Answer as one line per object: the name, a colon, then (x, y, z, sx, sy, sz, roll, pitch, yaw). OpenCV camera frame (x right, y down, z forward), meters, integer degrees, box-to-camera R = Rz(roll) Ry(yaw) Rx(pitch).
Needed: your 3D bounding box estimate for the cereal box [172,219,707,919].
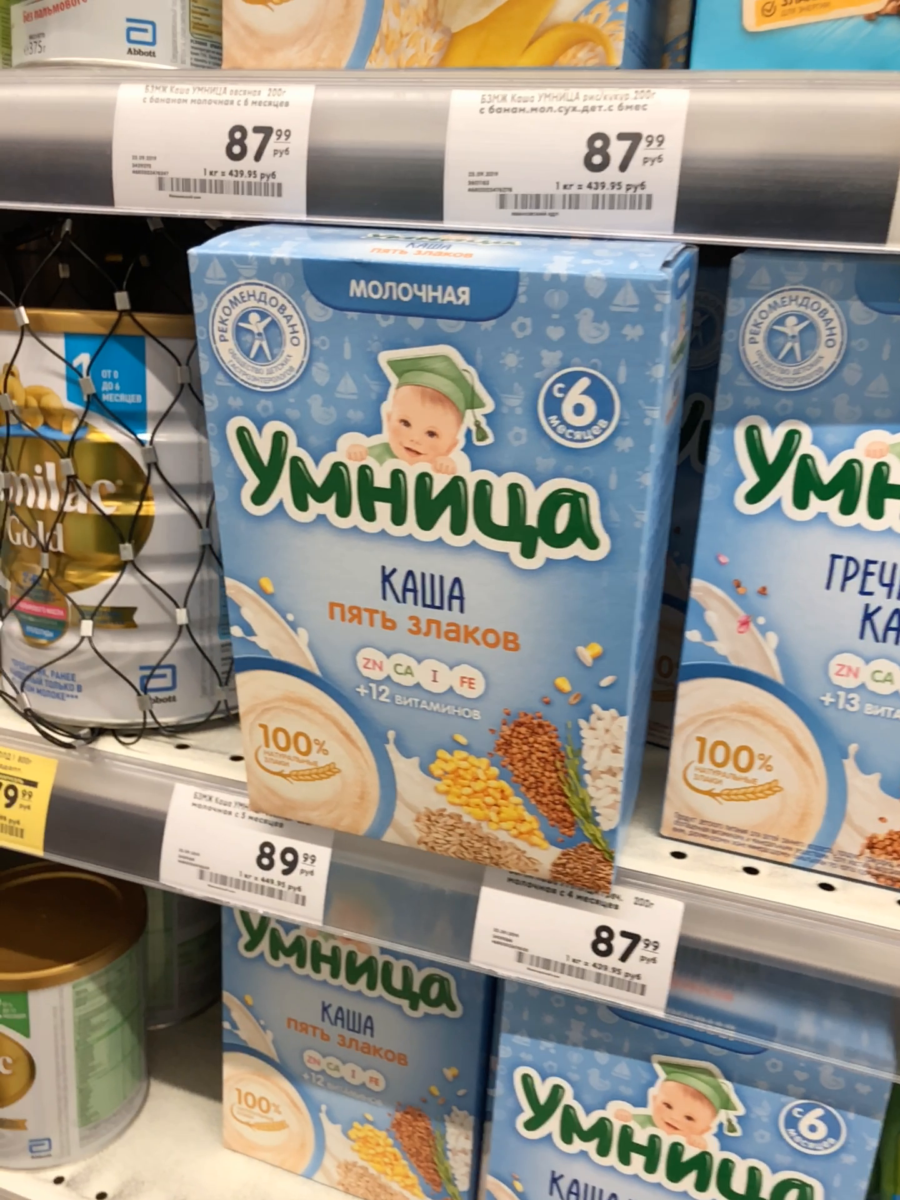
cereal box: (0.000, -0.010, 0.331, 0.140, 0.209, 0.060, 8, 28, 18)
